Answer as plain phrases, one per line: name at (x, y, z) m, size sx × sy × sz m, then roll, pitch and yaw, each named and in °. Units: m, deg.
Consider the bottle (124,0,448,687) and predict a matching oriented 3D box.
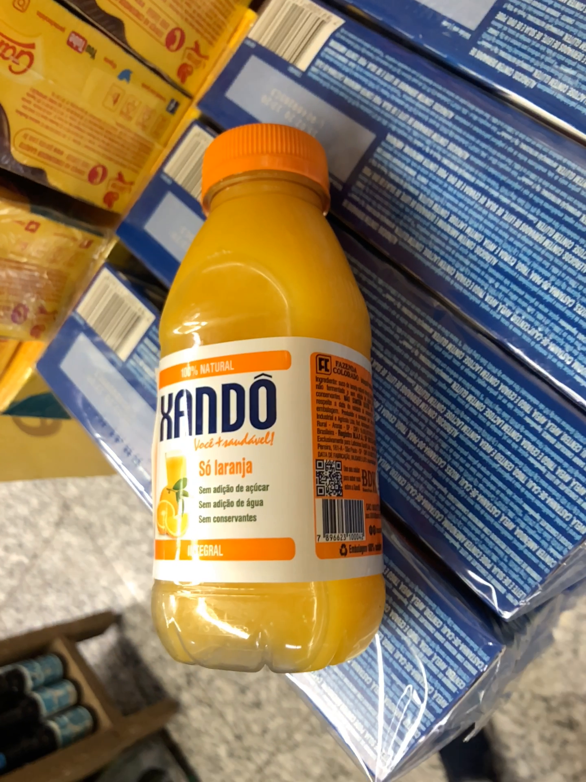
bottle at (0.000, -0.013, 0.203) m, size 0.060 × 0.080 × 0.170 m, roll -8°, pitch 80°, yaw 27°
